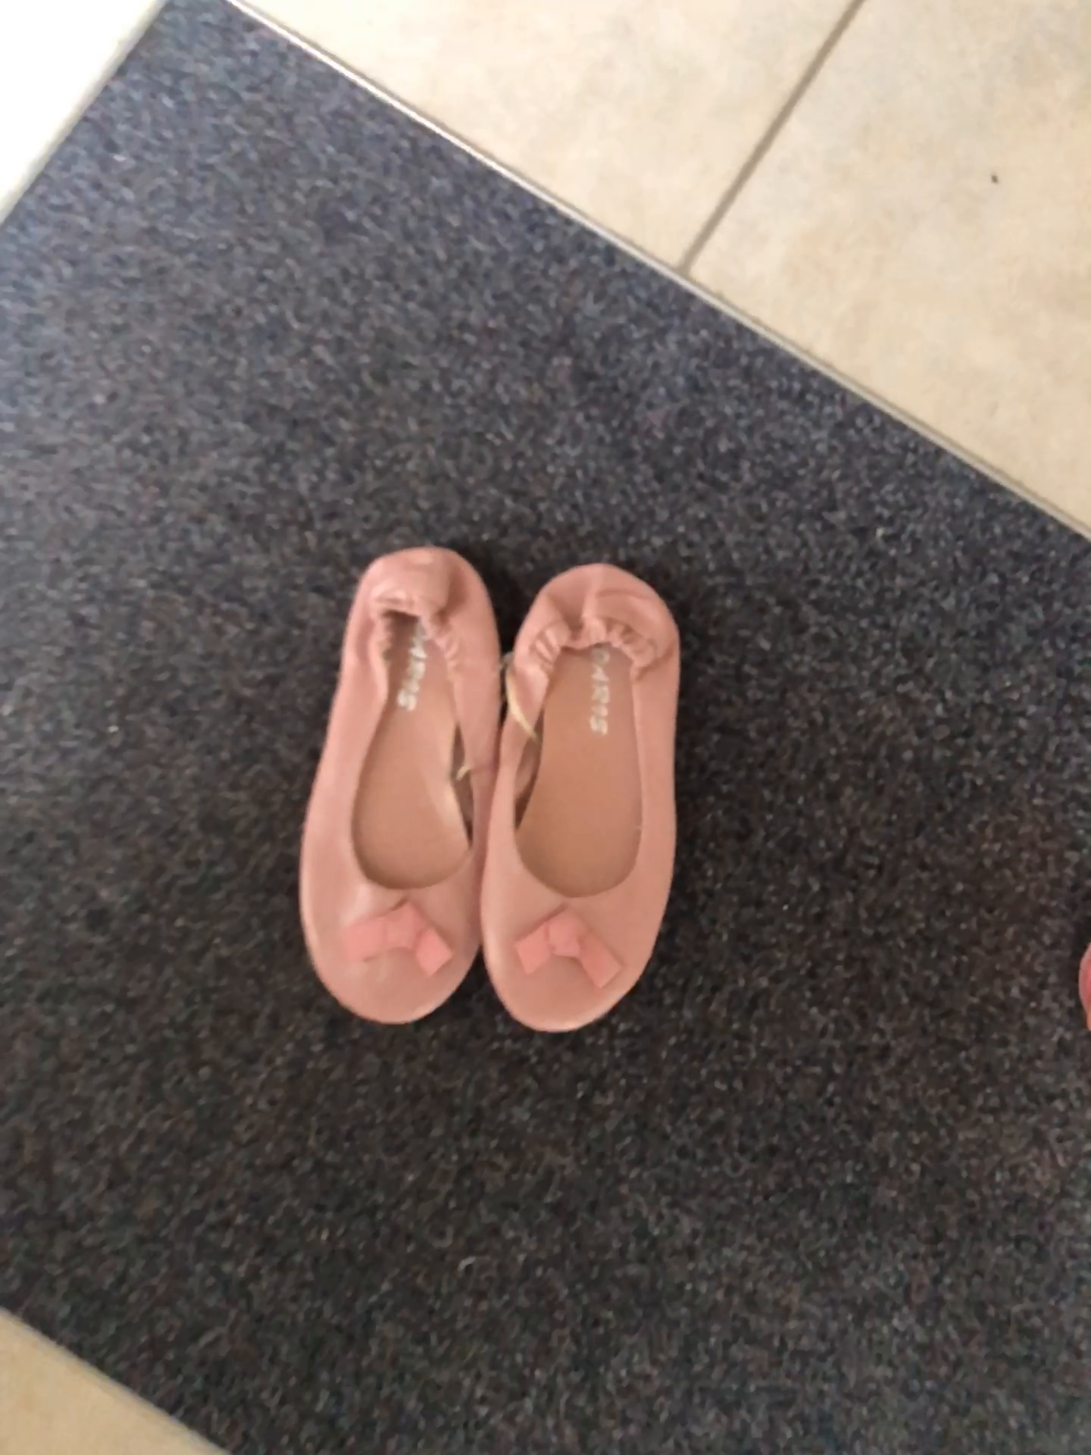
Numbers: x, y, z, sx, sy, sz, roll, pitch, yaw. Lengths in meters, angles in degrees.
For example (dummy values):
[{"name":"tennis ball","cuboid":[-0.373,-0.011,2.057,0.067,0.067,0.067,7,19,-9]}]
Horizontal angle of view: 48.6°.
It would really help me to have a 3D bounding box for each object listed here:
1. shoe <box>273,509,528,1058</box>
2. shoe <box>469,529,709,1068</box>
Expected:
[{"name":"shoe","cuboid":[-0.063,0.027,0.570,0.090,0.100,0.230,4,84,-2]},{"name":"shoe","cuboid":[0.018,0.034,0.580,0.090,0.100,0.230,4,84,-2]}]
